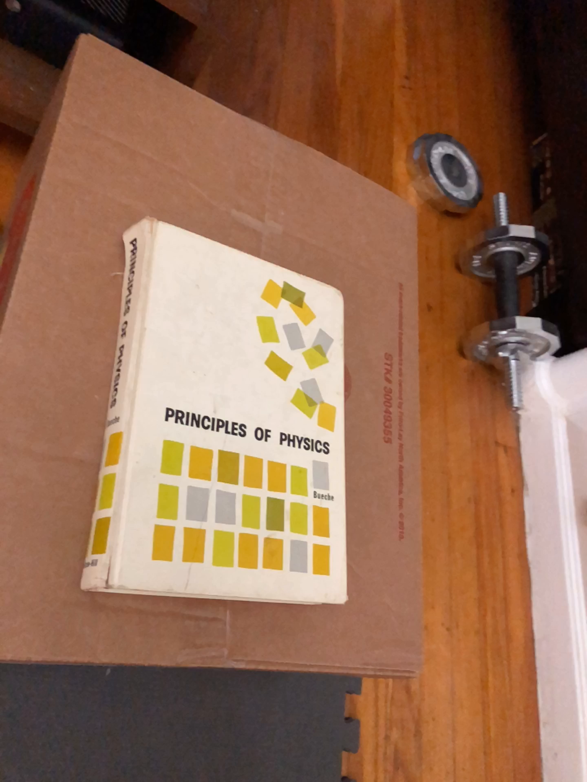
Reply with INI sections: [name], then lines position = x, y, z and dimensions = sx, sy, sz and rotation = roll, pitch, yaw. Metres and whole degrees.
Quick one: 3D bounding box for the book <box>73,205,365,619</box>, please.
[book]
position = -0.035, 0.019, 0.445
dimensions = 0.180, 0.040, 0.251
rotation = 16, 65, -30
